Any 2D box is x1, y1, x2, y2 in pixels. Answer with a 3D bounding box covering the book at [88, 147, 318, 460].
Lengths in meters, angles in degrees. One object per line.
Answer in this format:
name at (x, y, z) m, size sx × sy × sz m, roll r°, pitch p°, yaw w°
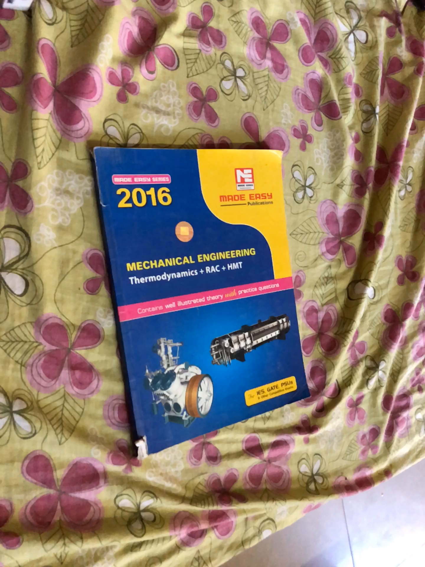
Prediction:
book at (0.002, 0.005, 0.461) m, size 0.201 × 0.030 × 0.269 m, roll -9°, pitch 94°, yaw -29°
